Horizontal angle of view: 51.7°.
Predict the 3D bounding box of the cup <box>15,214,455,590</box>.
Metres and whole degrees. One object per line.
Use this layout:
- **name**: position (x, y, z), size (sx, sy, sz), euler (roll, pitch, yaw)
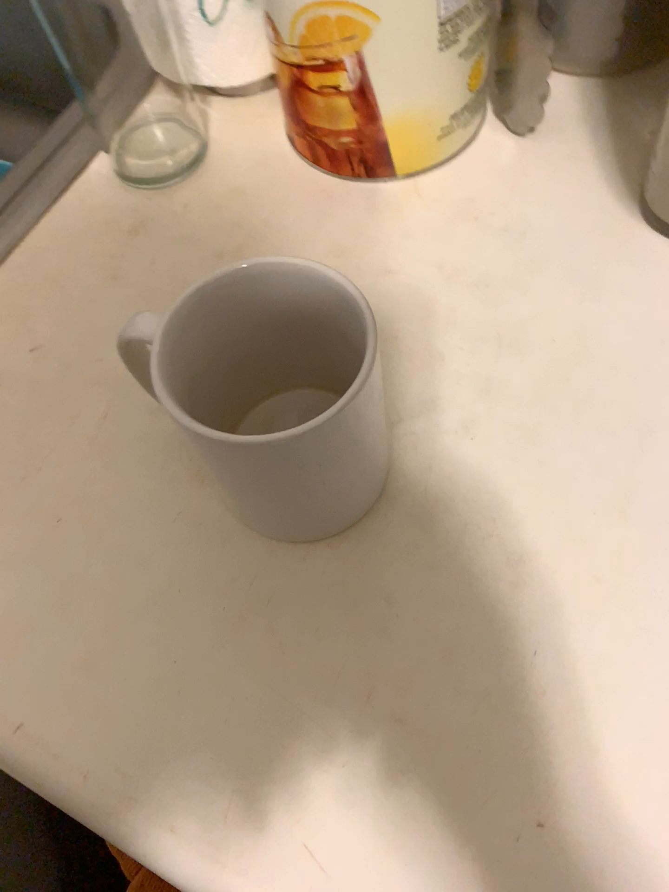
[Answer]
- **cup**: position (-0.030, -0.016, 0.302), size (0.140, 0.110, 0.090), euler (15, 65, 14)
